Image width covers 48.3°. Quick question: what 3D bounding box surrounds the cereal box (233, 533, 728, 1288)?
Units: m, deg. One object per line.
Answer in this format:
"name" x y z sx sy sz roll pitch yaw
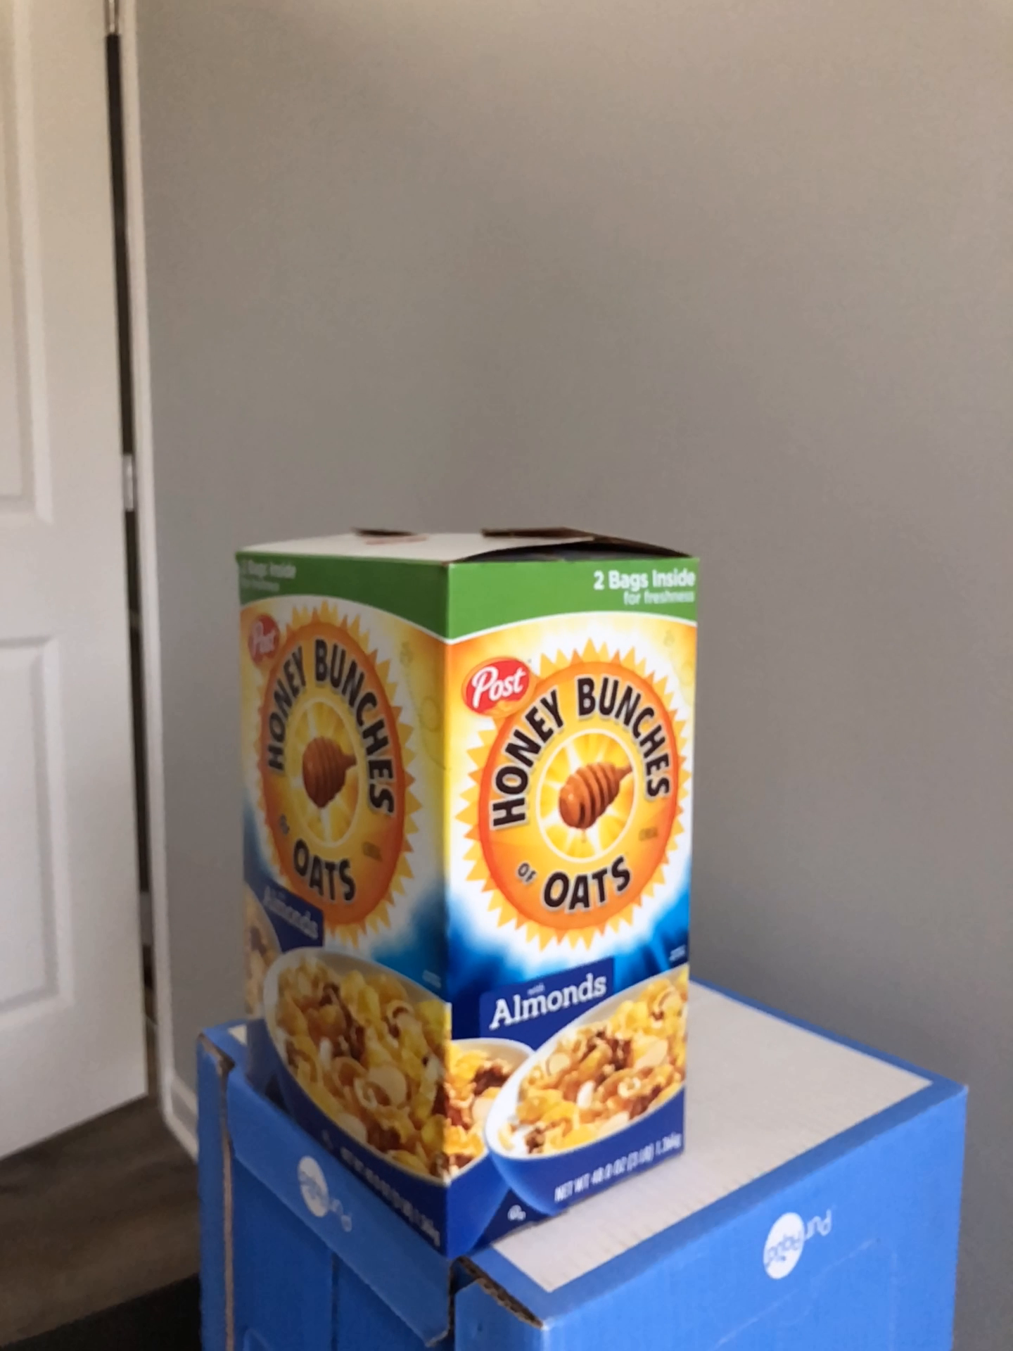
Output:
"cereal box" -0.021 0.081 0.560 0.150 0.300 0.200 -5 8 -36
